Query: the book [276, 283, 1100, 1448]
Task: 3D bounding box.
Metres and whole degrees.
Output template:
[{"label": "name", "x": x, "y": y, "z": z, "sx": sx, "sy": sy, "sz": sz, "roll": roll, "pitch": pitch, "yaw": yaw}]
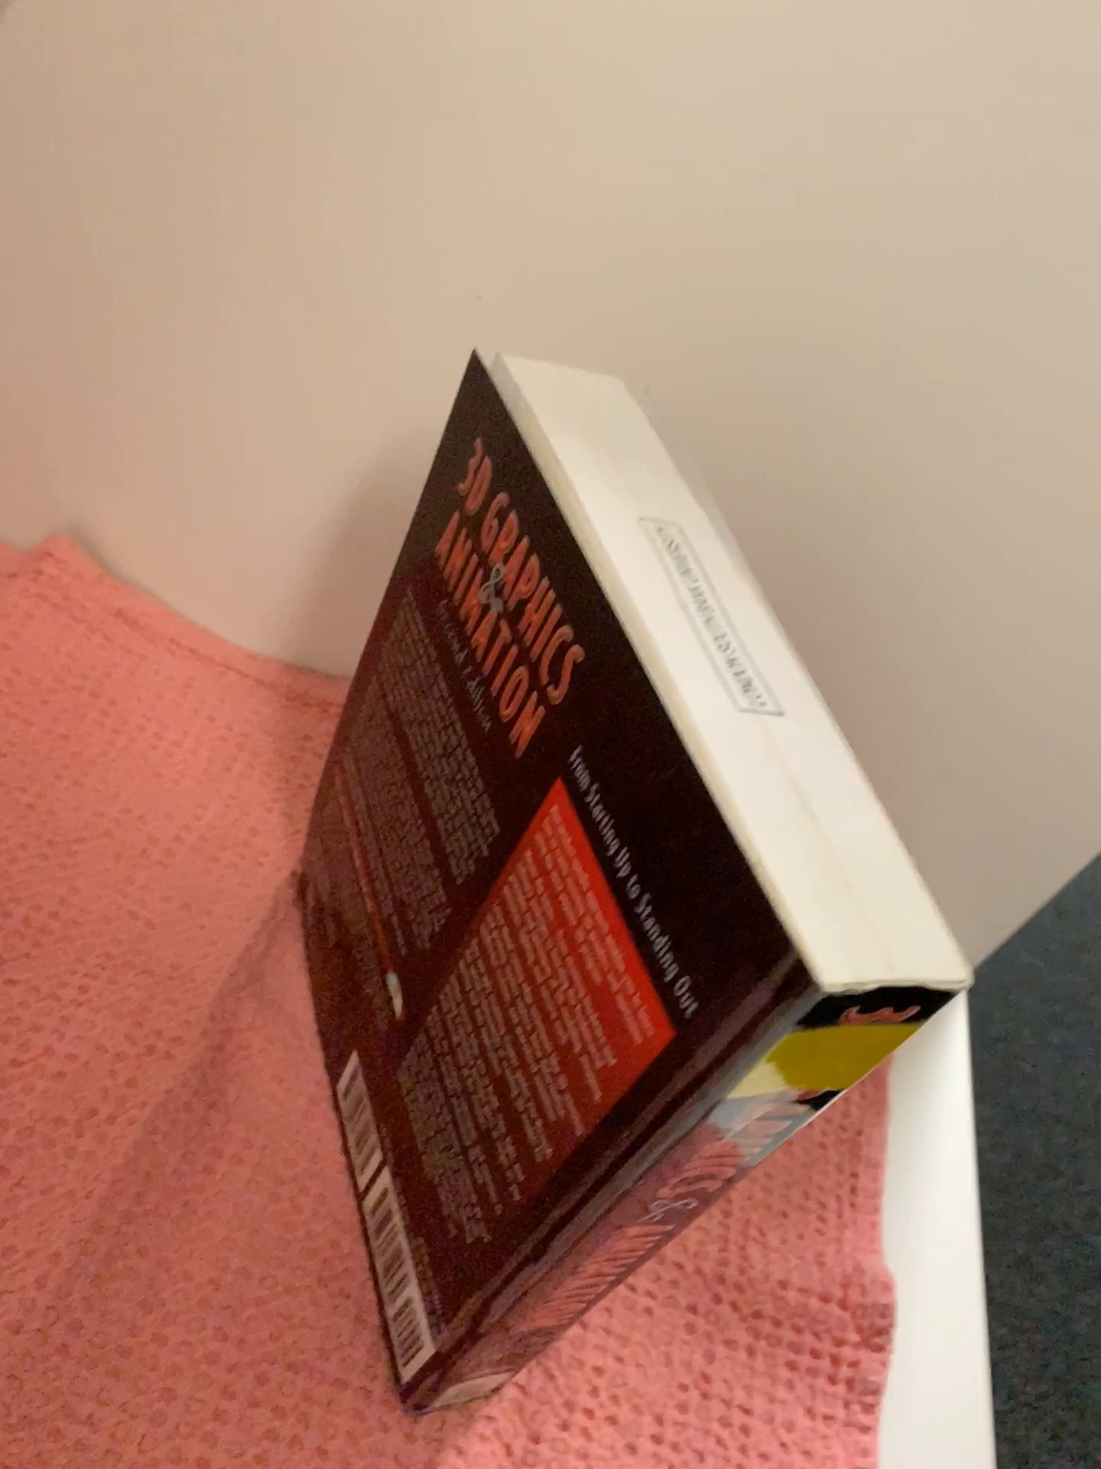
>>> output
[{"label": "book", "x": -0.005, "y": 0.040, "z": 0.324, "sx": 0.060, "sy": 0.228, "sz": 0.221, "roll": 2, "pitch": 47, "yaw": -29}]
